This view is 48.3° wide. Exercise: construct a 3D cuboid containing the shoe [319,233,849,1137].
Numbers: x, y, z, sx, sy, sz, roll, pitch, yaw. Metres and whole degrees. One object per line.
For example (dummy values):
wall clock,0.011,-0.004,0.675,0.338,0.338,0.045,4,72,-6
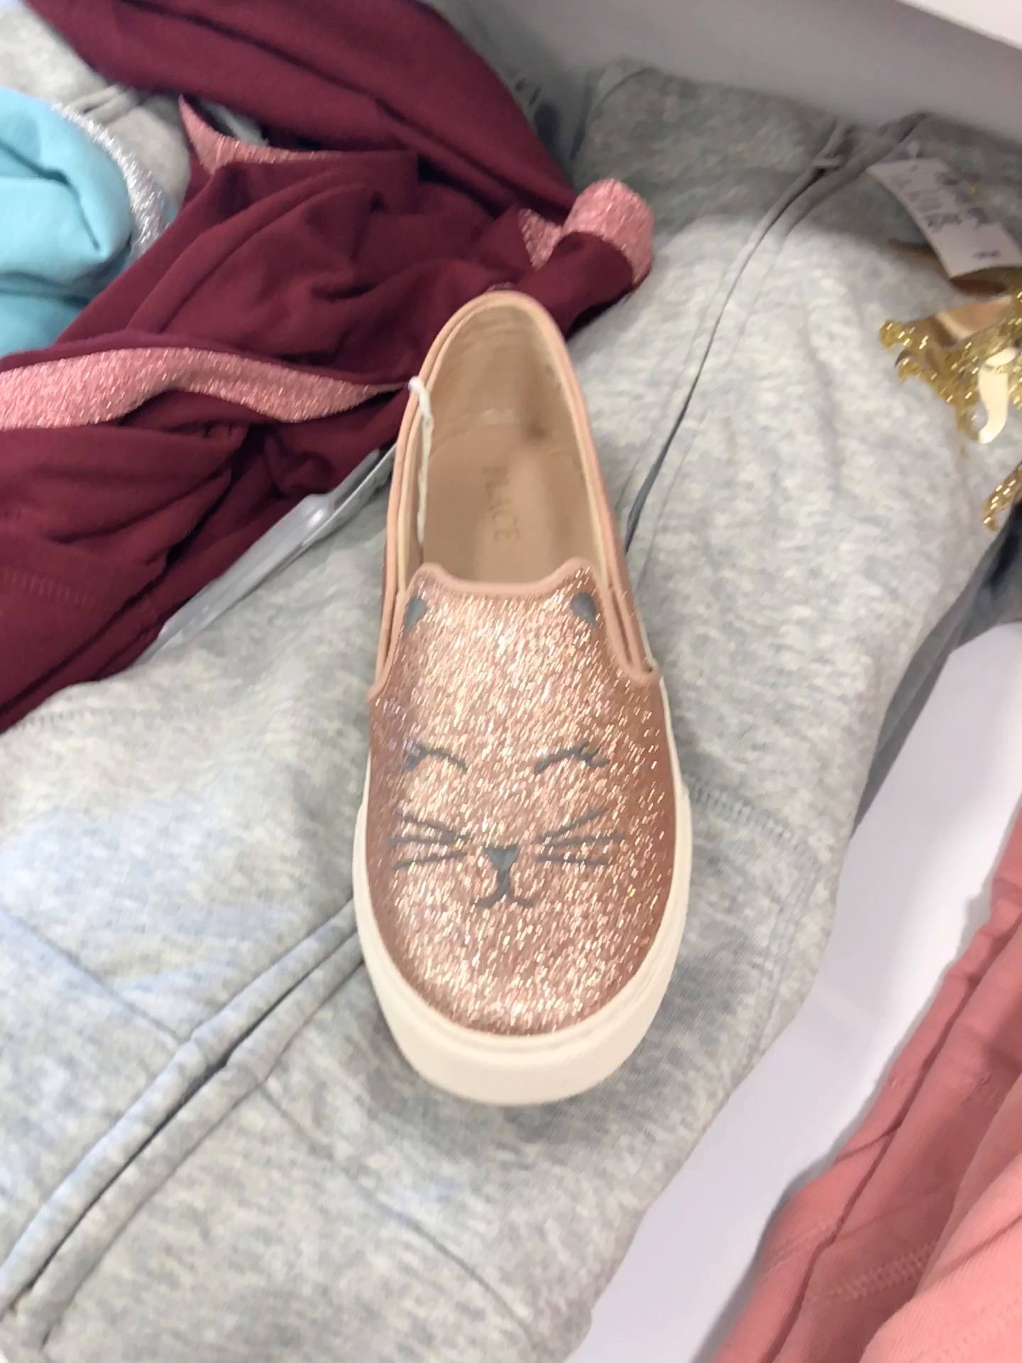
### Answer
shoe,0.009,-0.011,0.289,0.090,0.080,0.220,3,53,-4
